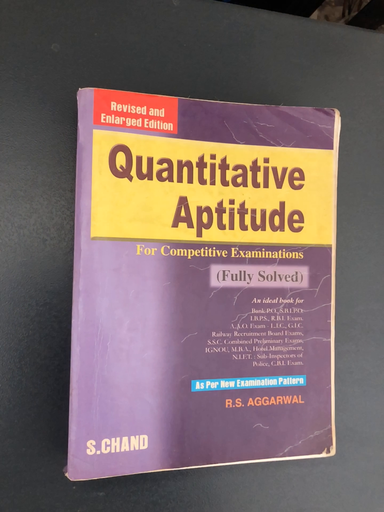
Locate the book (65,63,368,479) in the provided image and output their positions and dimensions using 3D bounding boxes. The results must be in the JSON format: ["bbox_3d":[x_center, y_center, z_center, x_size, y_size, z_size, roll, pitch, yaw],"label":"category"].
[{"bbox_3d":[0.018,0.009,0.273,0.180,0.050,0.220,2,87,-14],"label":"book"}]
